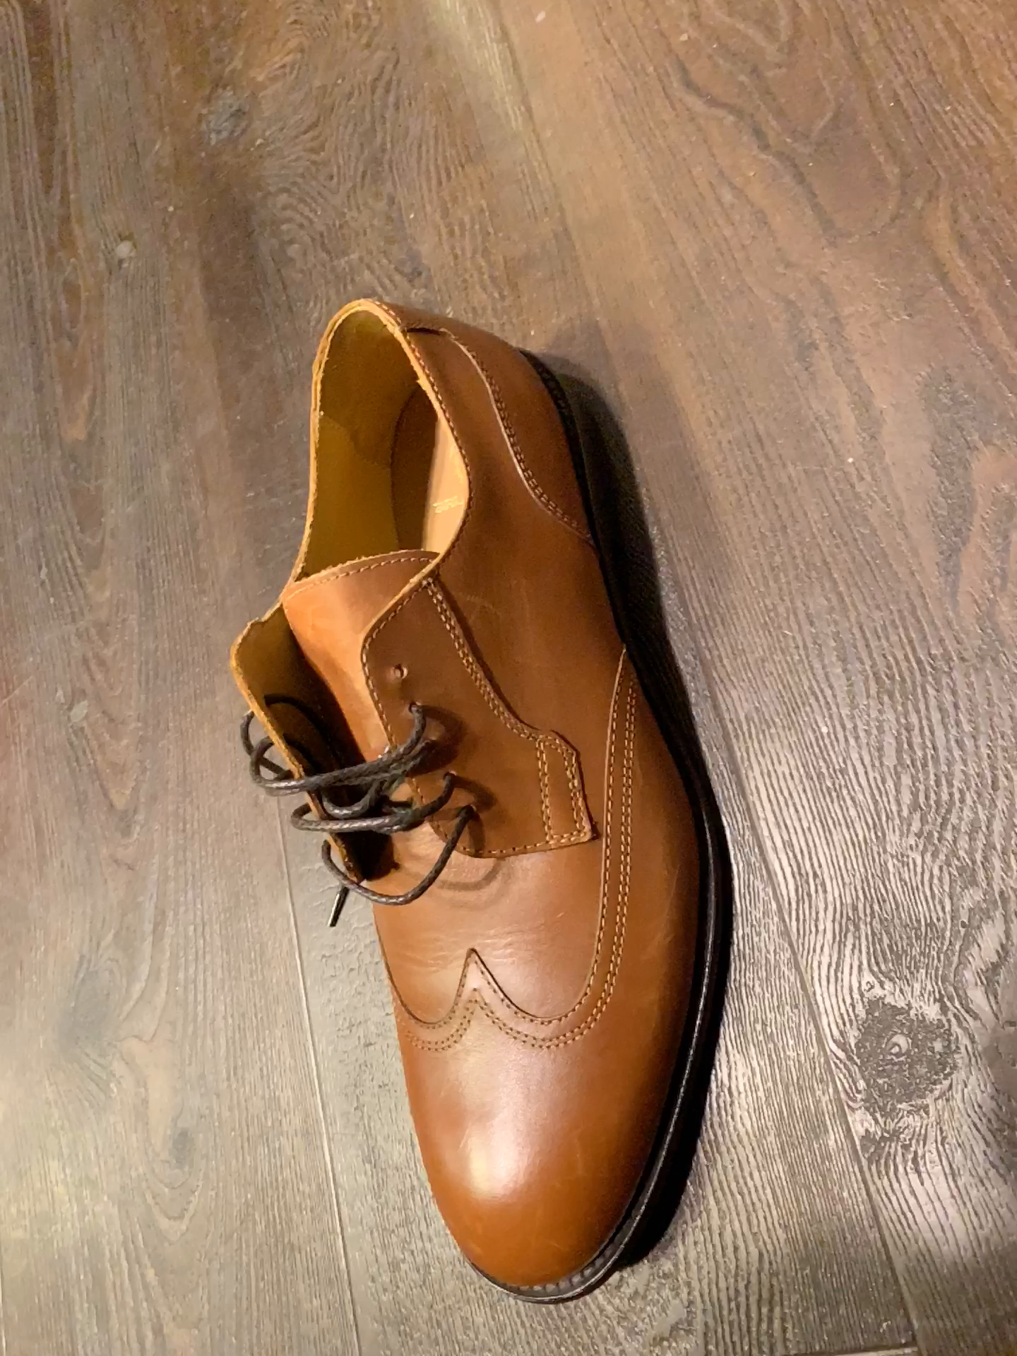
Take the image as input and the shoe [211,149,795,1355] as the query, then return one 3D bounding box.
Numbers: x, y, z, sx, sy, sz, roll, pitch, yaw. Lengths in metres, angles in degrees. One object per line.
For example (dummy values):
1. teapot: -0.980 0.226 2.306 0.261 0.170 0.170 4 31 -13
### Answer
1. shoe: -0.007 0.024 0.330 0.120 0.109 0.321 -13 71 28
